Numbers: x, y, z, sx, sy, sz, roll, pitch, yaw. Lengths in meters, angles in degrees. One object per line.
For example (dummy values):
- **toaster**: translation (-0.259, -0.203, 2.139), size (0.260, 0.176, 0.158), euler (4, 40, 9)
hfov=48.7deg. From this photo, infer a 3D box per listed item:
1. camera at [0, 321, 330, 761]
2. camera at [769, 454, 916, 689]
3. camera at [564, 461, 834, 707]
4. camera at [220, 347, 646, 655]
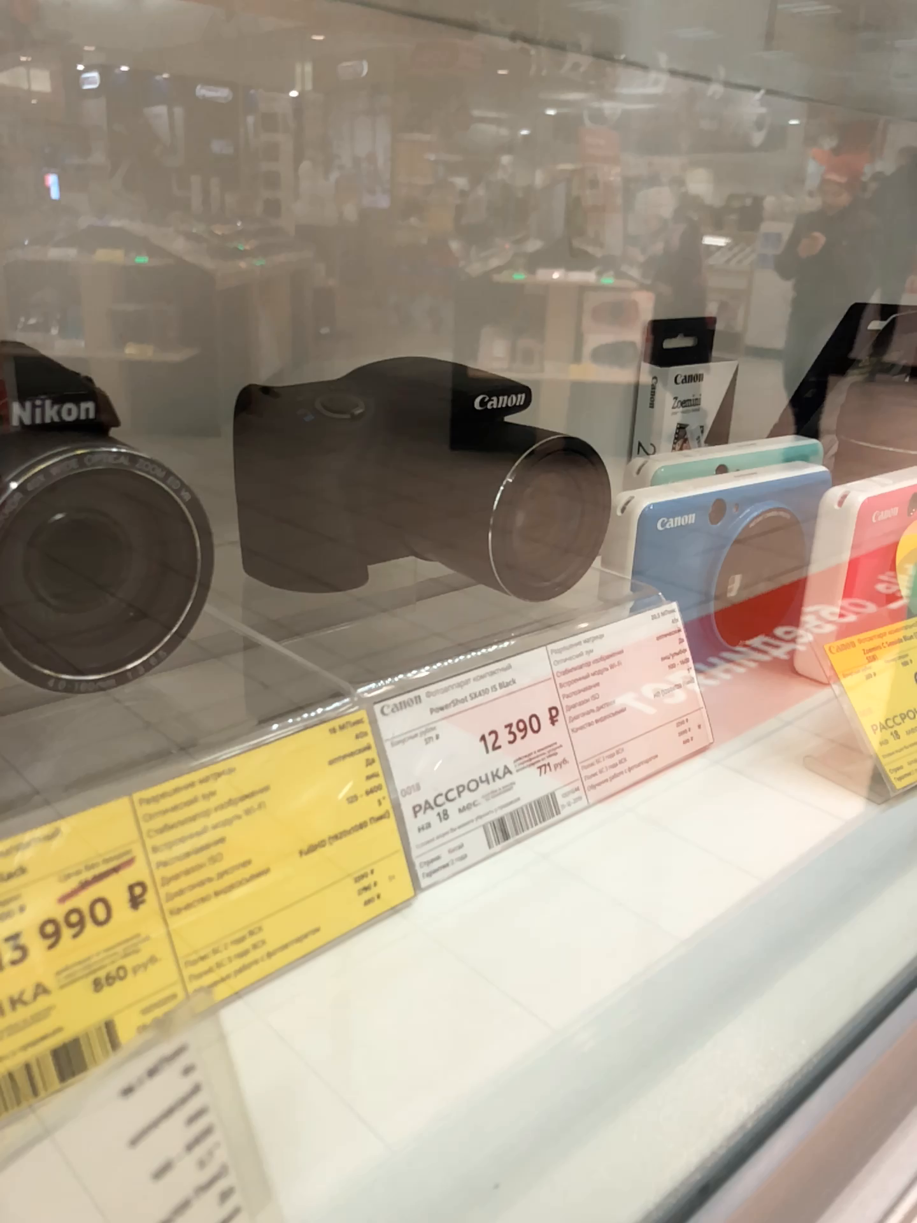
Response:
- **camera**: translation (-0.100, -0.029, 0.252), size (0.100, 0.073, 0.093), euler (-15, 27, -39)
- **camera**: translation (0.181, -0.020, 0.418), size (0.118, 0.073, 0.028), euler (-13, 26, -36)
- **camera**: translation (0.097, -0.015, 0.402), size (0.118, 0.073, 0.028), euler (-13, 26, -36)
- **camera**: translation (-0.010, -0.044, 0.335), size (0.100, 0.070, 0.093), euler (-15, 27, -39)
